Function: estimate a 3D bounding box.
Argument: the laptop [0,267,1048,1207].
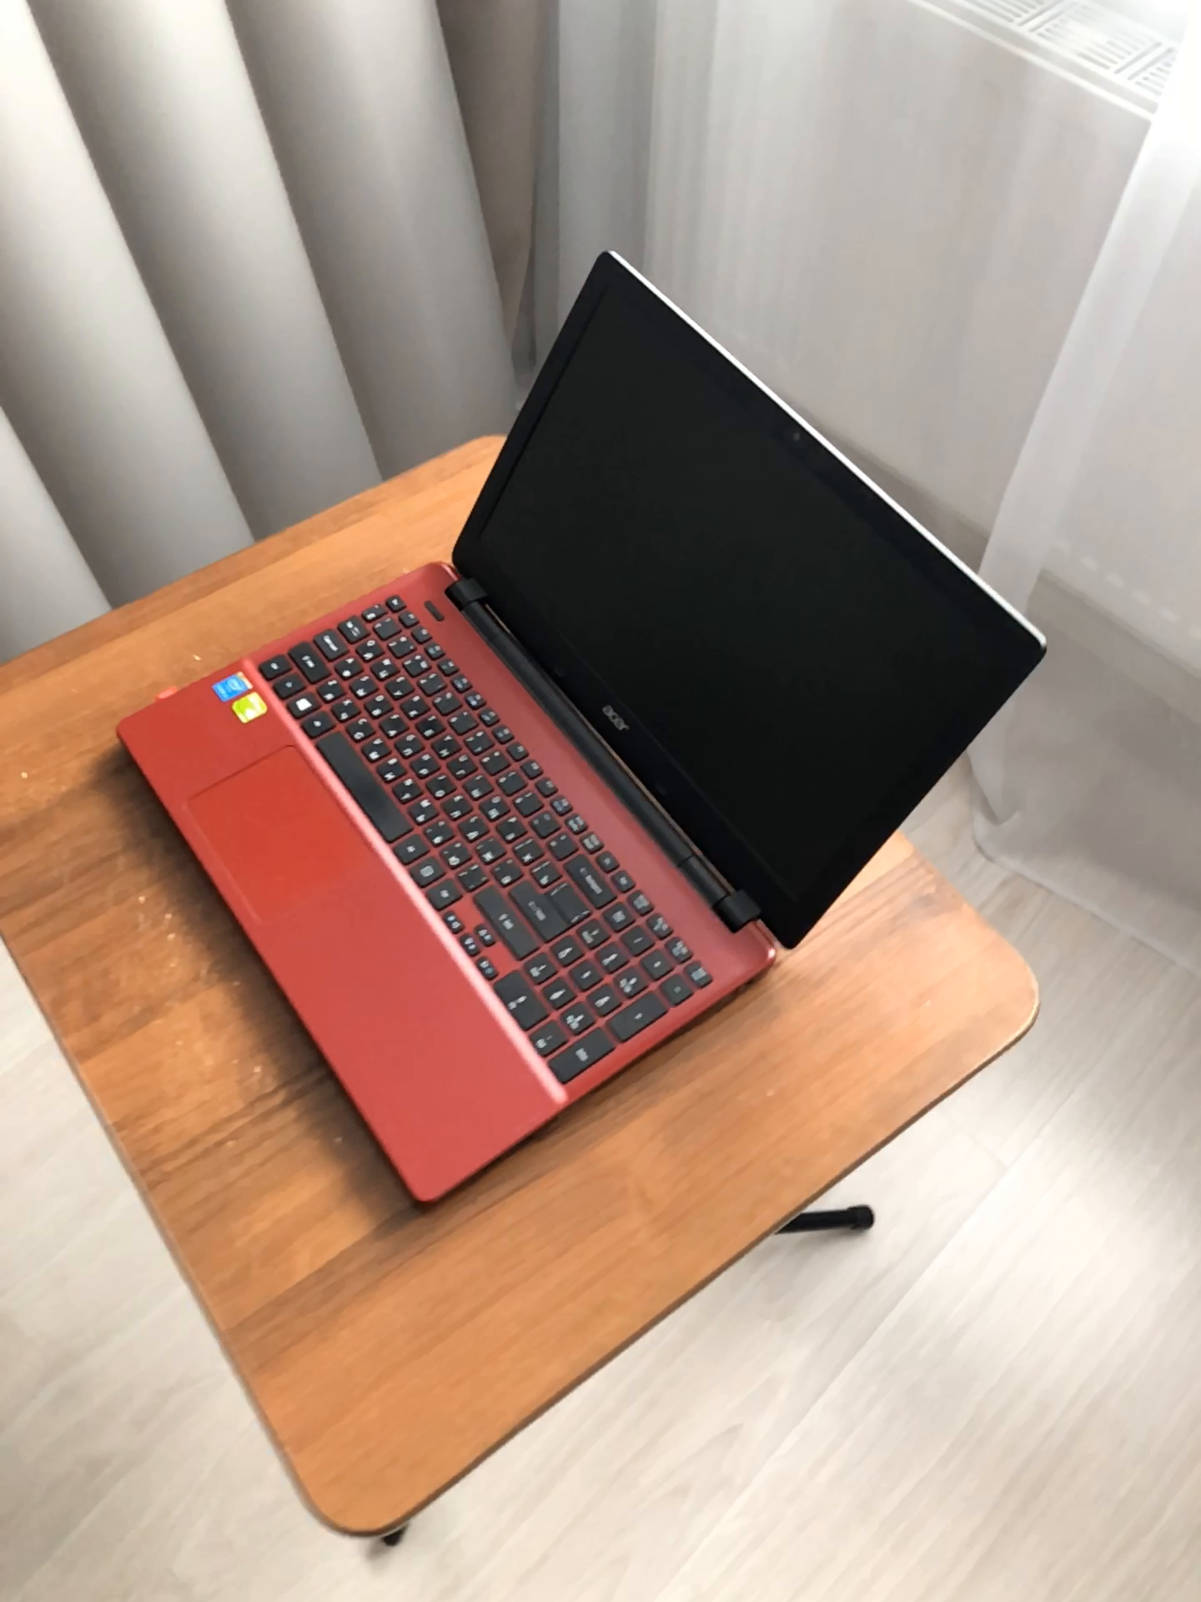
[{"bbox_3d":[-0.048,-0.057,0.749,0.381,0.191,0.372,-30,63,-19],"label":"laptop"}]
